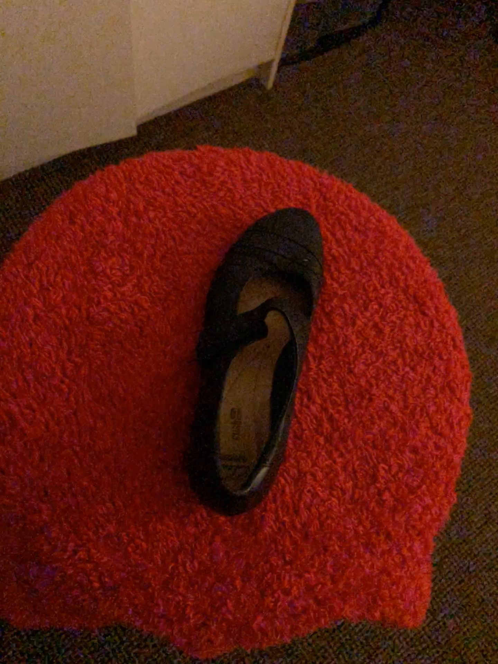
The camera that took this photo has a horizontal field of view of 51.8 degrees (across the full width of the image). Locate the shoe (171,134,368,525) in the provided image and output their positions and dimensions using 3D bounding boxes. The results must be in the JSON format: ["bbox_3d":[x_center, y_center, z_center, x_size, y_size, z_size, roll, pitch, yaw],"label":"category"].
[{"bbox_3d":[0.019,-0.006,0.396,0.093,0.080,0.276,13,69,-4],"label":"shoe"}]
